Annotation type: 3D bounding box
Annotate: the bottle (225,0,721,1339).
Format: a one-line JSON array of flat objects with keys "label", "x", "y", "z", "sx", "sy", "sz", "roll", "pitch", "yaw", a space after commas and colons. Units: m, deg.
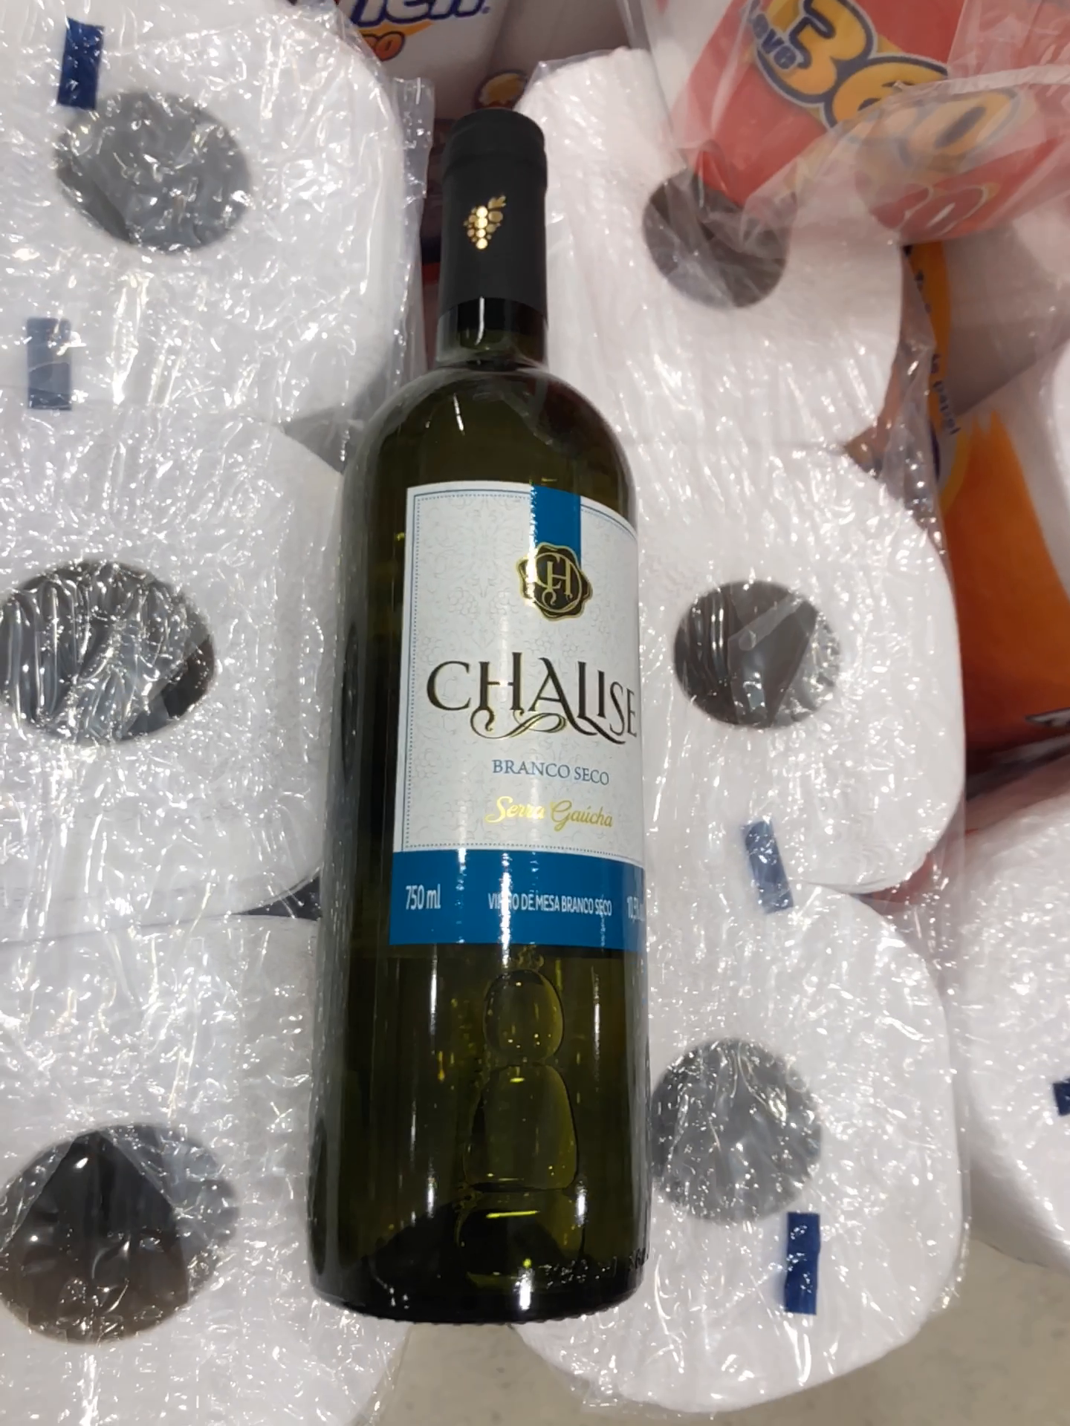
[{"label": "bottle", "x": -0.012, "y": -0.022, "z": 0.274, "sx": 0.080, "sy": 0.060, "sz": 0.280, "roll": 9, "pitch": 72, "yaw": -27}]
